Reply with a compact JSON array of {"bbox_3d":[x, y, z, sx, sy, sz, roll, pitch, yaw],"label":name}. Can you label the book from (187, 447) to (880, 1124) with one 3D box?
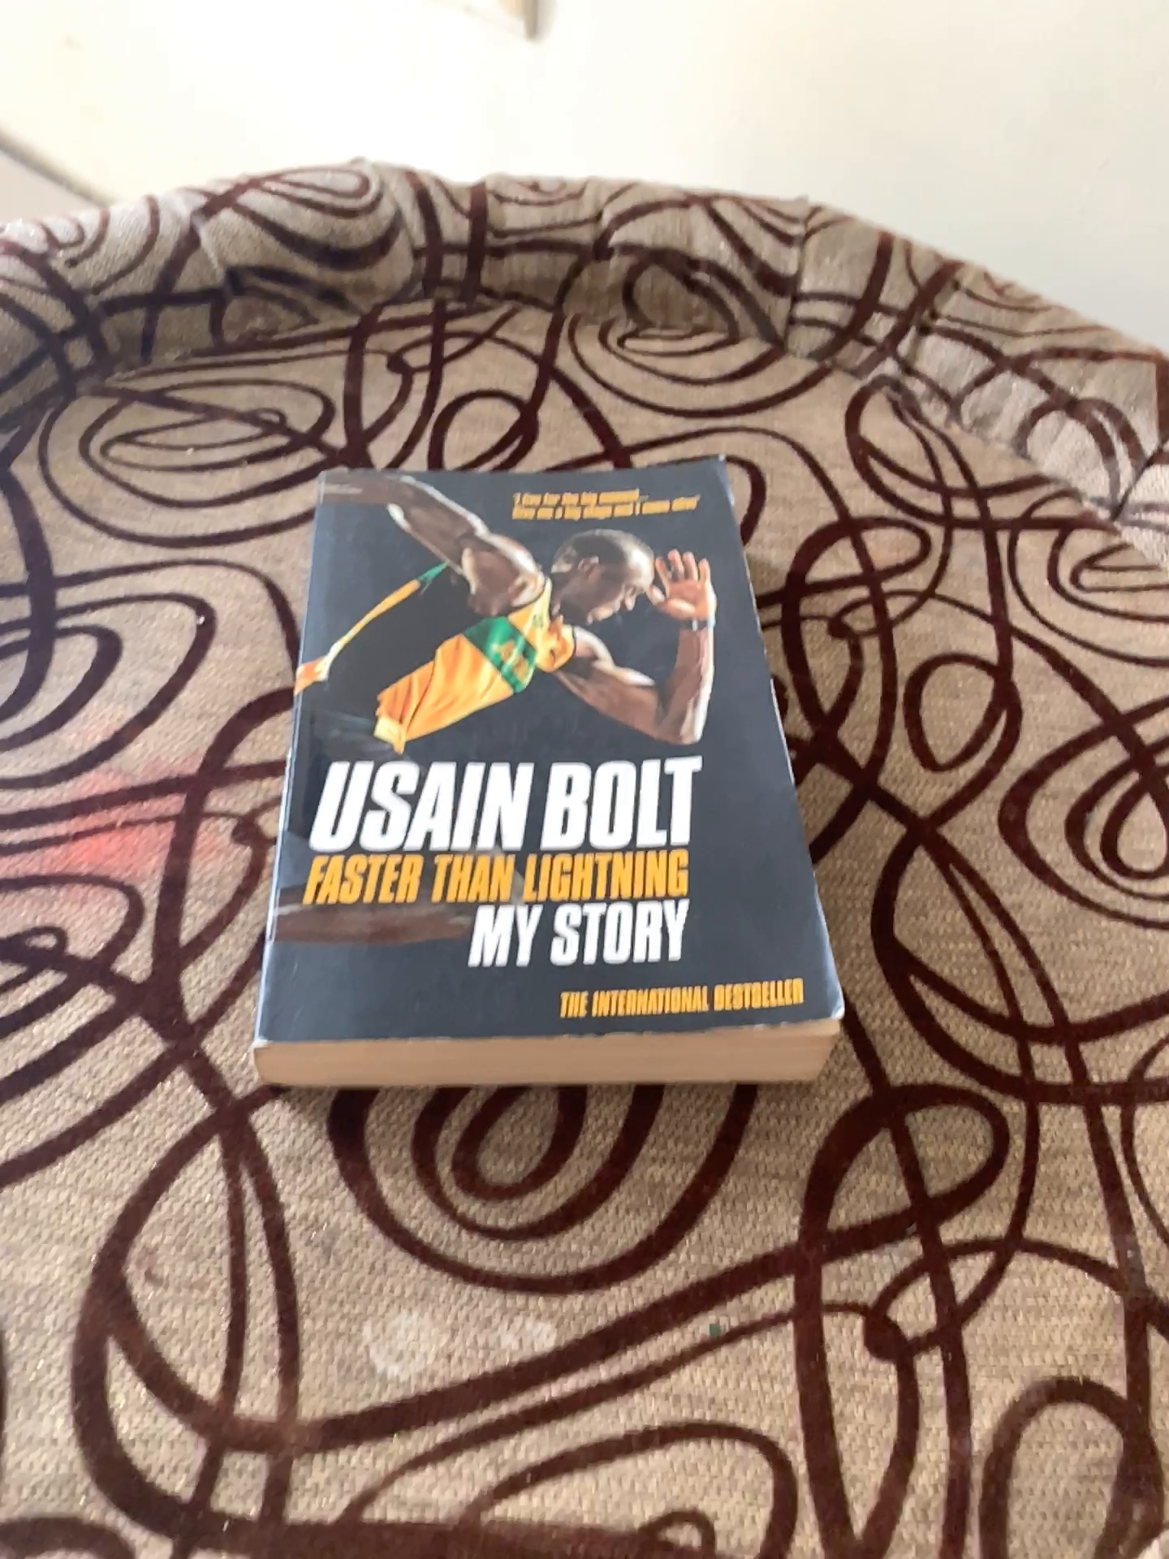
[{"bbox_3d":[-0.016,-0.014,0.318,0.140,0.030,0.201,-1,51,-5],"label":"book"}]
